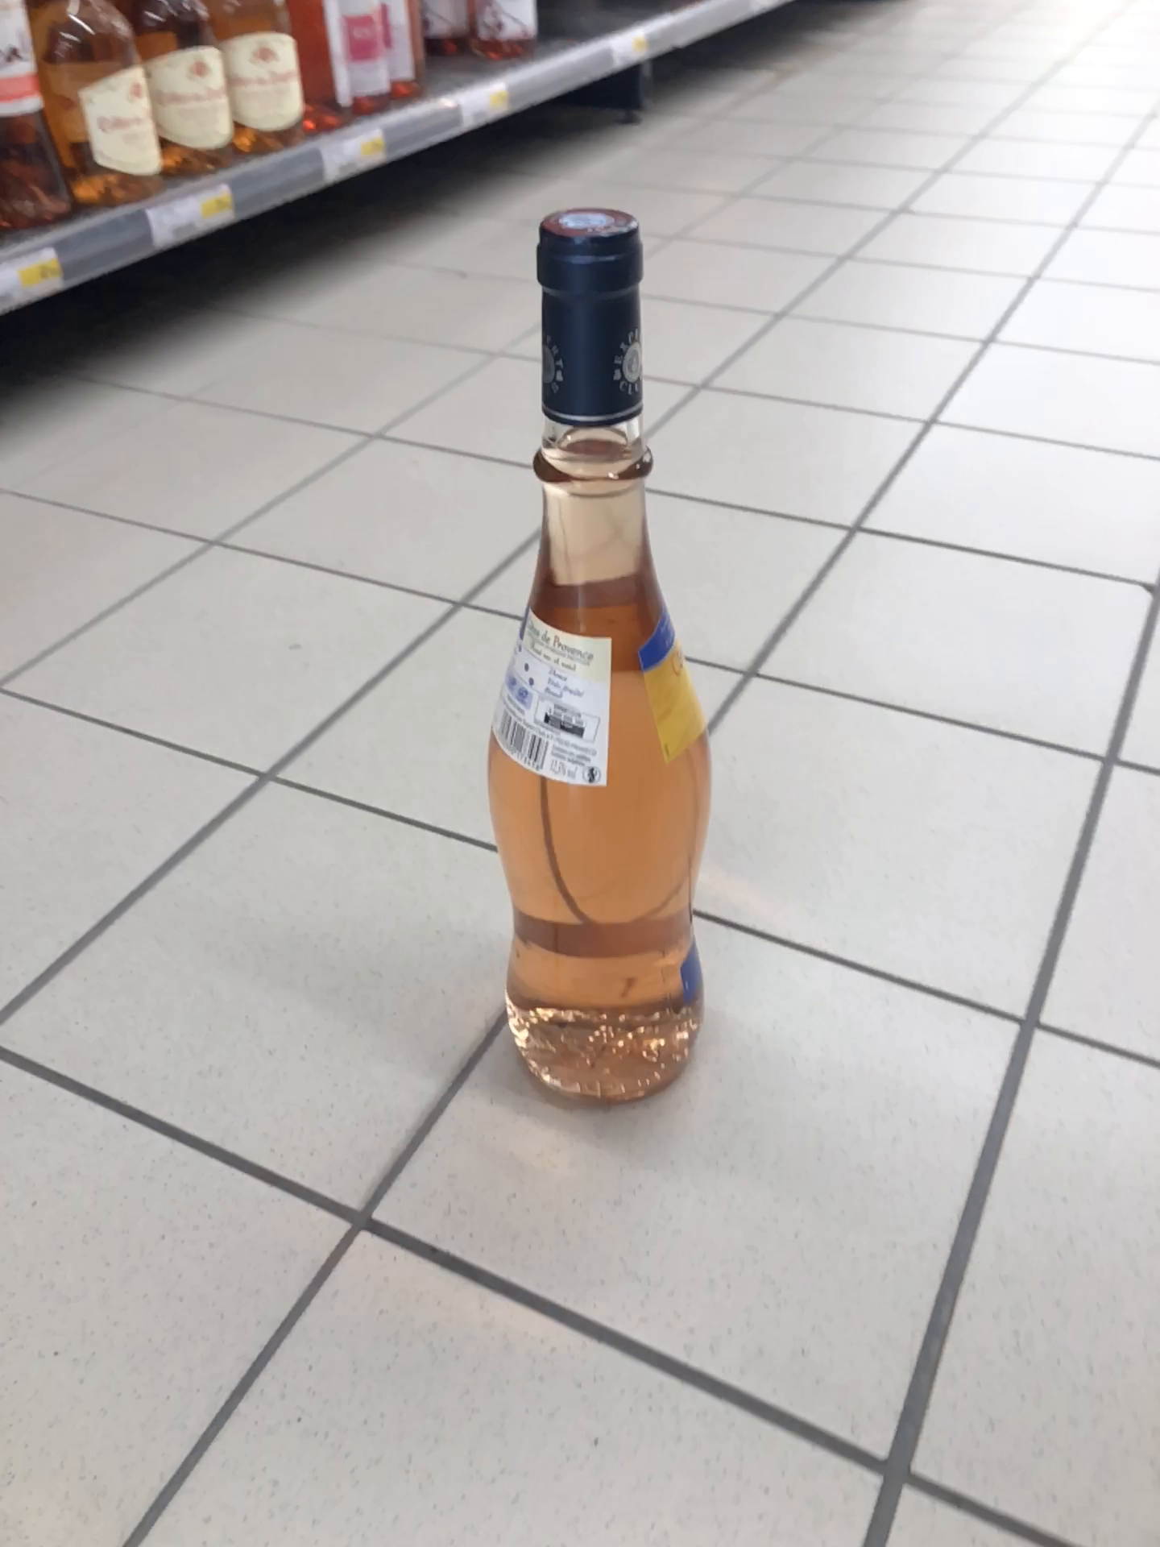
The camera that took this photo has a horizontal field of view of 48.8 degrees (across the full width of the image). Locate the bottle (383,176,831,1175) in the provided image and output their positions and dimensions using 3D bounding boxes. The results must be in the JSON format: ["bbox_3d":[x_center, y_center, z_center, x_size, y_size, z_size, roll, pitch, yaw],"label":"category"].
[{"bbox_3d":[0.009,-0.014,0.428,0.080,0.318,0.090,-23,41,-25],"label":"bottle"}]
